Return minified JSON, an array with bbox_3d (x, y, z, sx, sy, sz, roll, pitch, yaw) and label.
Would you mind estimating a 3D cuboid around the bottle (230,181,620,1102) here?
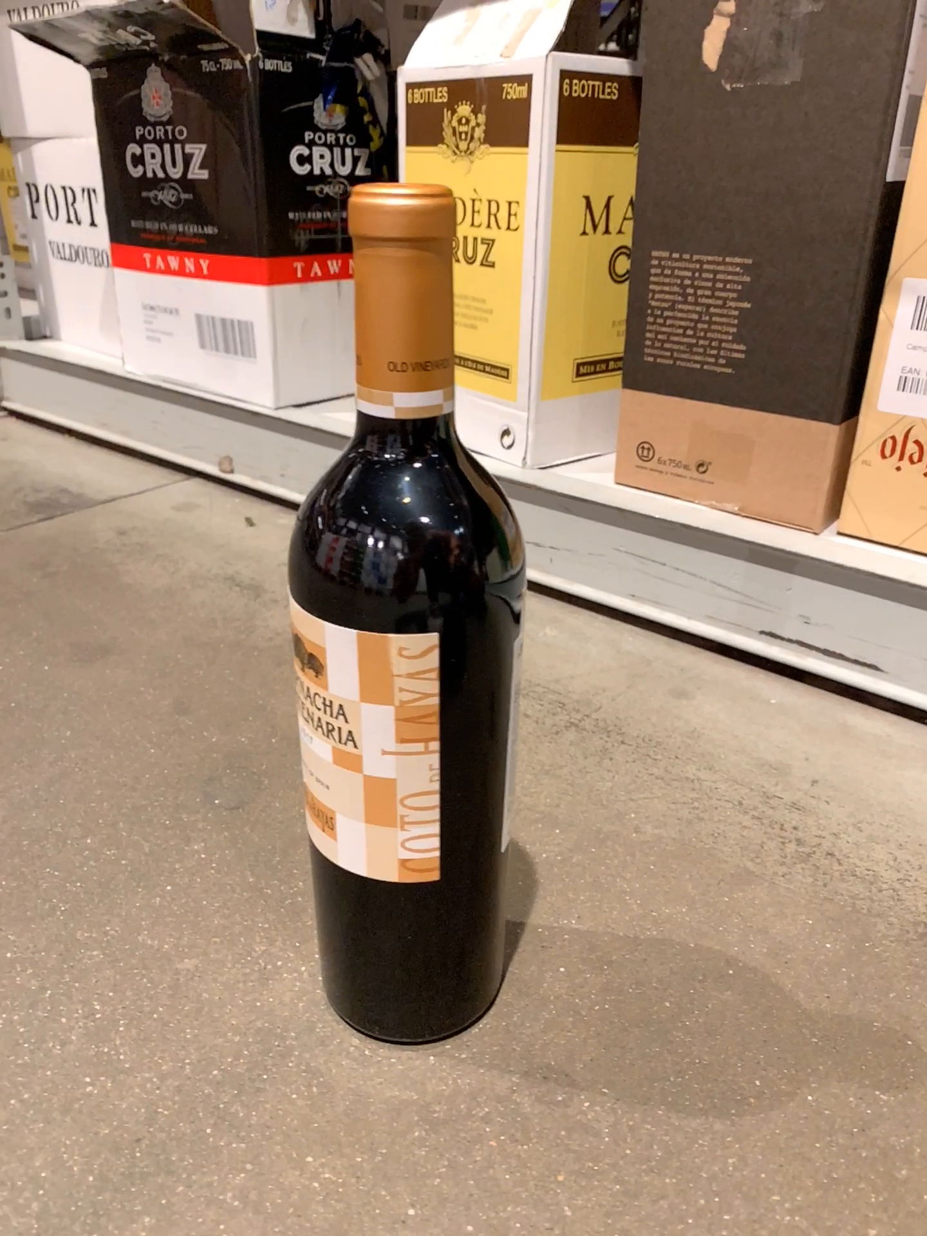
[{"bbox_3d":[-0.013,0.018,0.347,0.080,0.317,0.080,1,26,0],"label":"bottle"}]
